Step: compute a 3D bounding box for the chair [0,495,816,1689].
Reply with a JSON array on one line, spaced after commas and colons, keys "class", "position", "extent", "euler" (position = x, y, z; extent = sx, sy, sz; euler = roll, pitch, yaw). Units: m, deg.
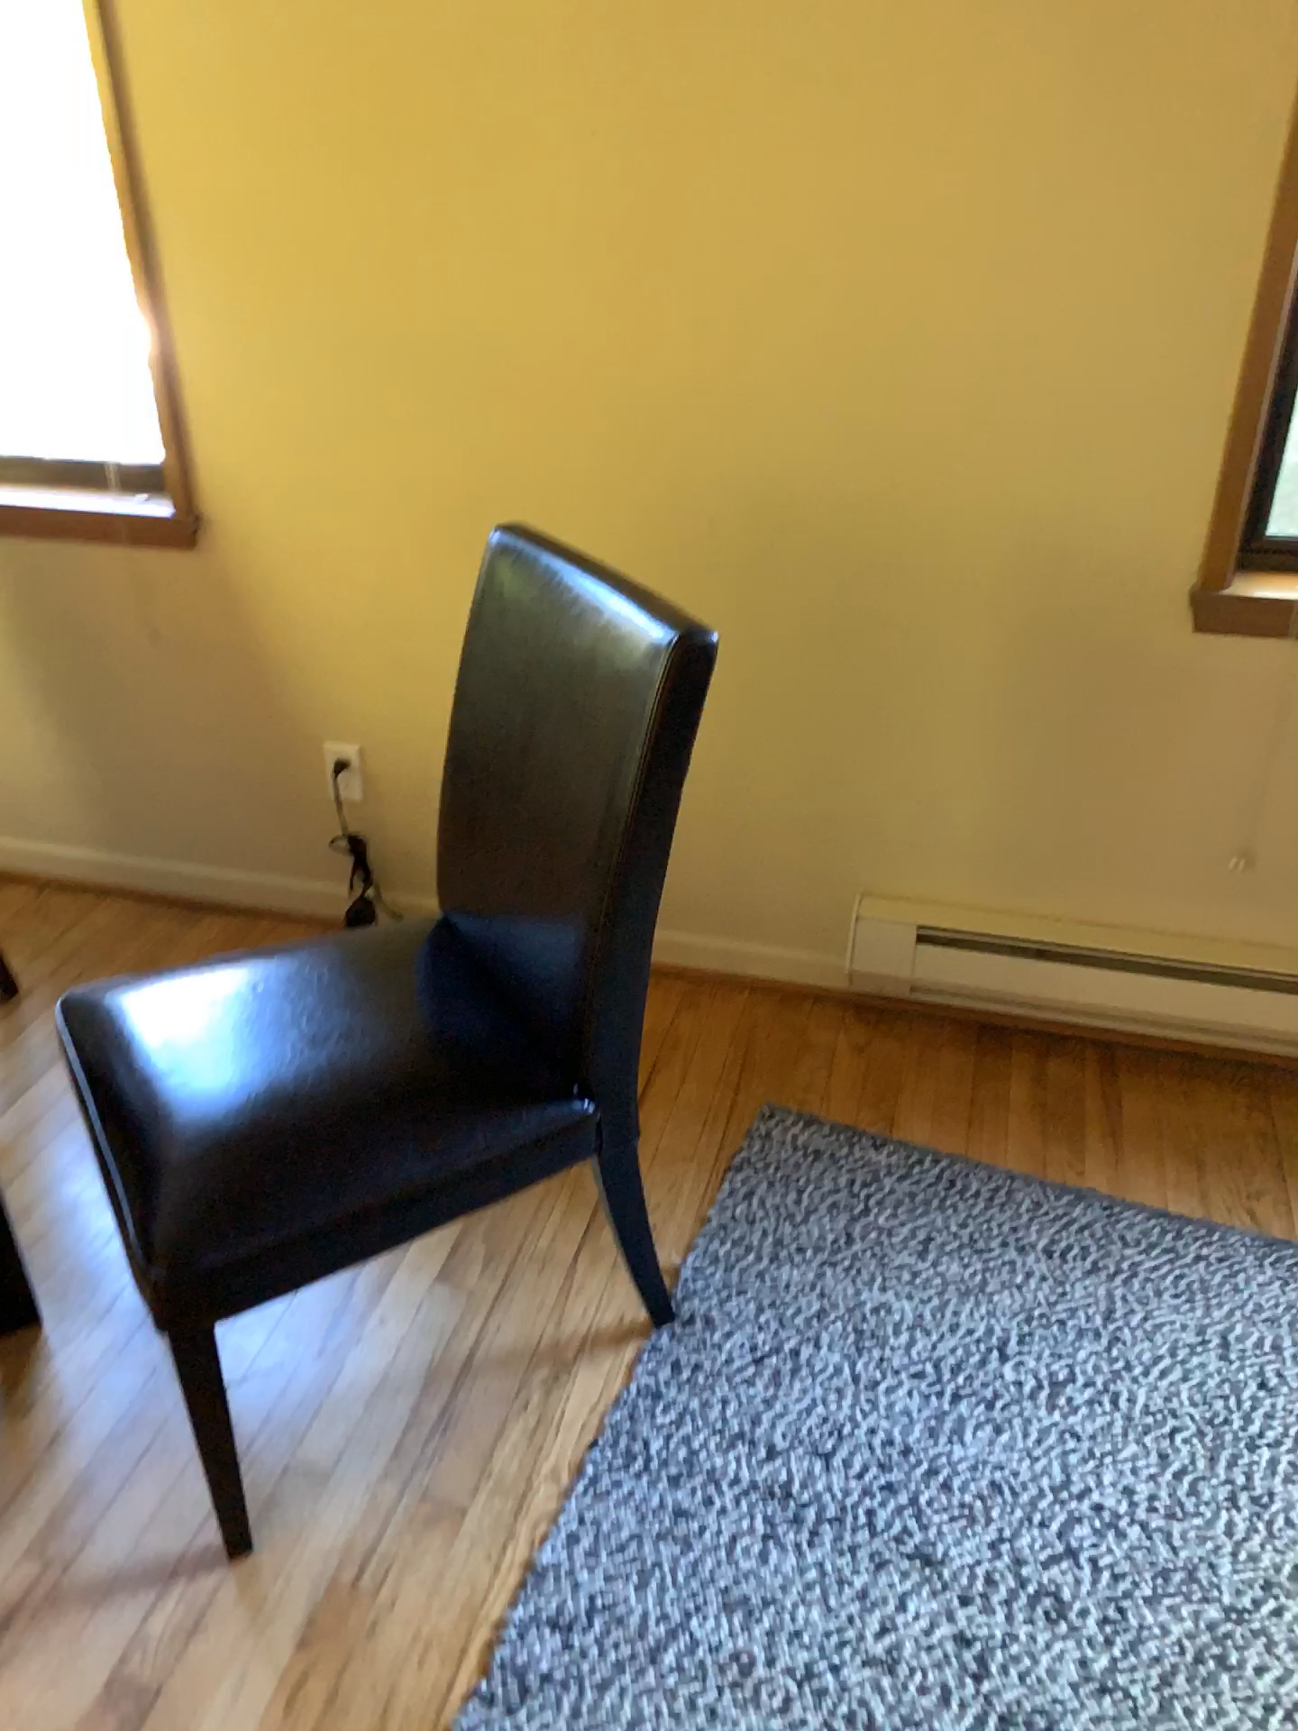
[{"class": "chair", "position": [-0.281, 0.221, 1.569], "extent": [0.650, 1.084, 0.623], "euler": [-17, 34, -27]}]
